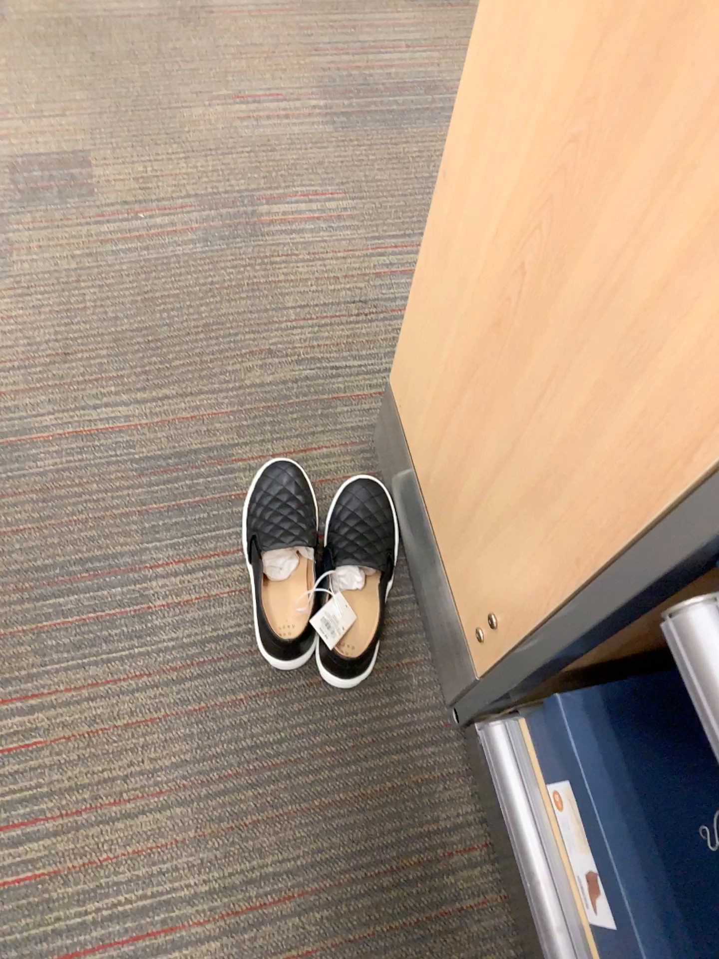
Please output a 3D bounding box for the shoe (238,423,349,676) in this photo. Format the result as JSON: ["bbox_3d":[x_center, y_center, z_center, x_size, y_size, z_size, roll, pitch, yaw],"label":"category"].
[{"bbox_3d":[-0.080,0.075,0.830,0.100,0.100,0.261,-3,63,-9],"label":"shoe"}]

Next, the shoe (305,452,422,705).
[{"bbox_3d":[0.006,0.112,0.846,0.100,0.100,0.261,8,62,-3],"label":"shoe"}]
